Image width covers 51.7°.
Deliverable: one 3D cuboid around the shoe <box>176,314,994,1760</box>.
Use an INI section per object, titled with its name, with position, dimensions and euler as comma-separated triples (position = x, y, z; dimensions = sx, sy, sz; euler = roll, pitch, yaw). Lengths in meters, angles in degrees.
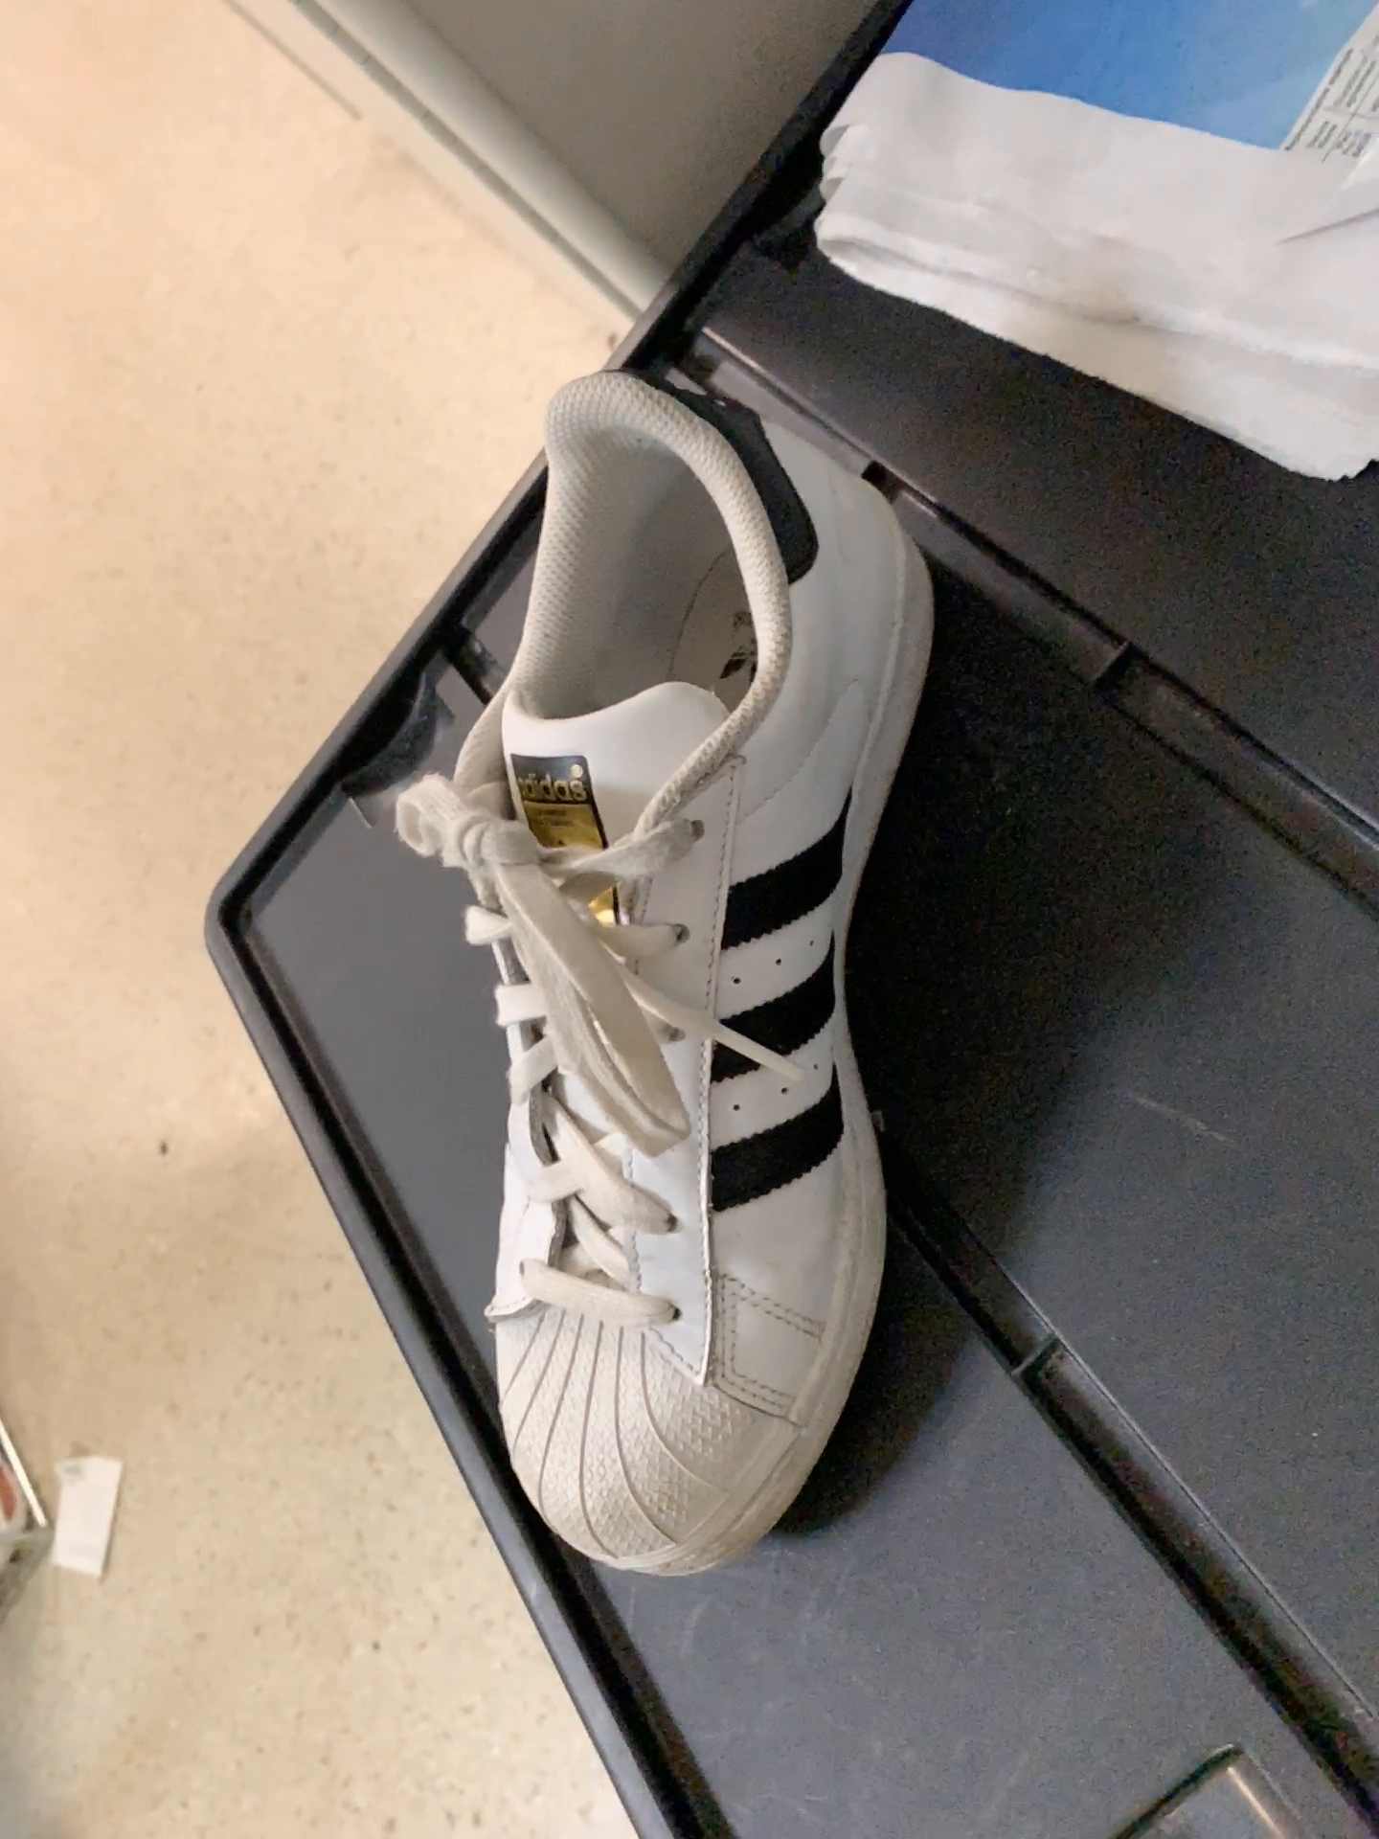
[shoe]
position = -0.019, 0.018, 0.304
dimensions = 0.104, 0.092, 0.242
euler = 6, 85, 38
